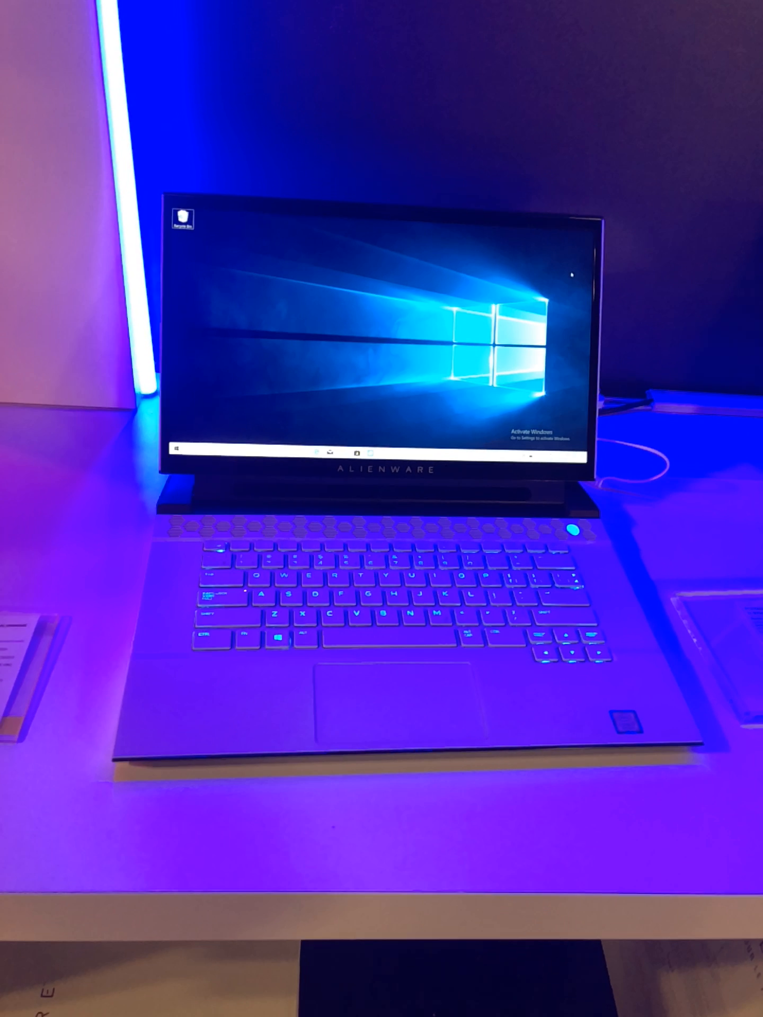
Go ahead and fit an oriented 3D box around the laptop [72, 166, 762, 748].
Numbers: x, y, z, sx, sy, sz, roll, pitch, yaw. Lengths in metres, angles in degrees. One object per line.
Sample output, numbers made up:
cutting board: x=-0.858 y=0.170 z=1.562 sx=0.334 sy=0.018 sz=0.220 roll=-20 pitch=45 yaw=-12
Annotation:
laptop: x=0.014 y=-0.059 z=0.590 sx=0.356 sy=0.194 sz=0.381 roll=1 pitch=41 yaw=-7
